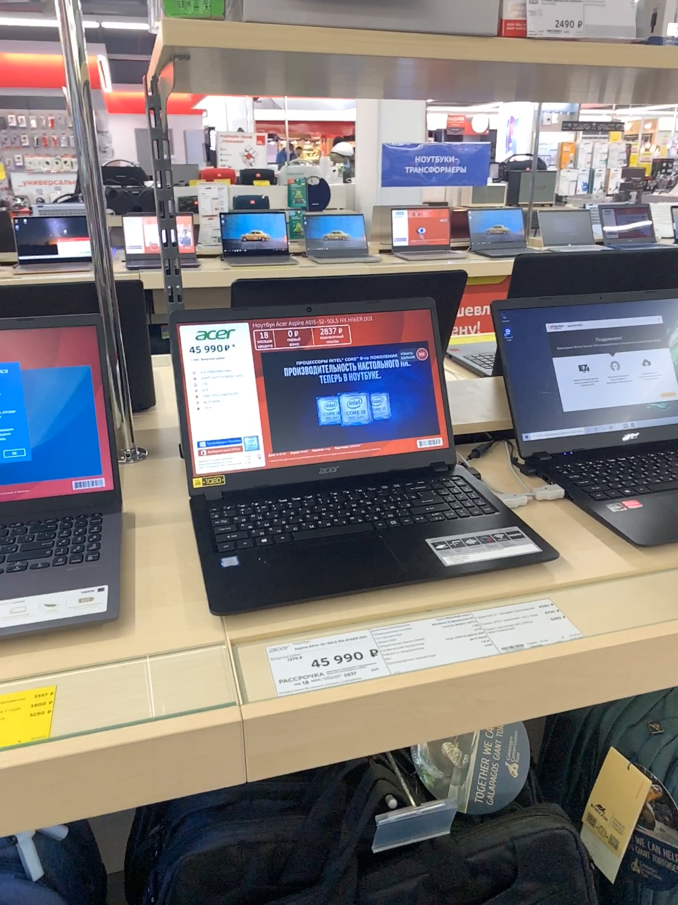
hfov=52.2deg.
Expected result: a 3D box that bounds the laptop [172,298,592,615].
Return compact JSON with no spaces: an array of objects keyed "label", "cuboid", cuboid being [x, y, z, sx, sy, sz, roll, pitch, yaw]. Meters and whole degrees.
[{"label":"laptop","cuboid":[0.013,-0.034,0.813,0.368,0.208,0.366,-6,23,-15]}]
